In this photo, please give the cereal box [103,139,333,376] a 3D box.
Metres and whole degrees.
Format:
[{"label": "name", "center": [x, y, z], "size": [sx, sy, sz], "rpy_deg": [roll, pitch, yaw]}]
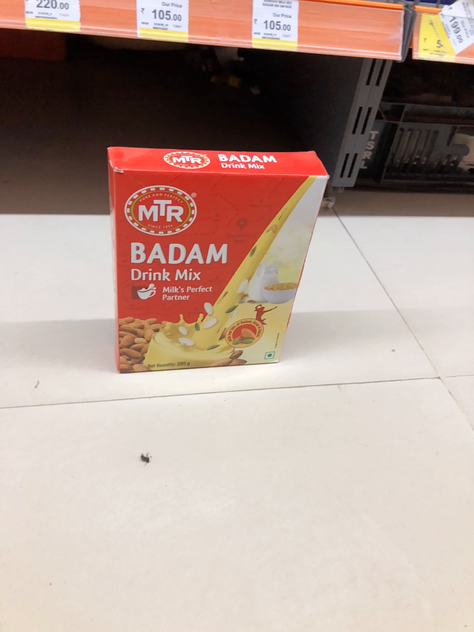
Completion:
[{"label": "cereal box", "center": [-0.020, -0.033, 0.358], "size": [0.130, 0.159, 0.040], "rpy_deg": [-3, 41, -14]}]
